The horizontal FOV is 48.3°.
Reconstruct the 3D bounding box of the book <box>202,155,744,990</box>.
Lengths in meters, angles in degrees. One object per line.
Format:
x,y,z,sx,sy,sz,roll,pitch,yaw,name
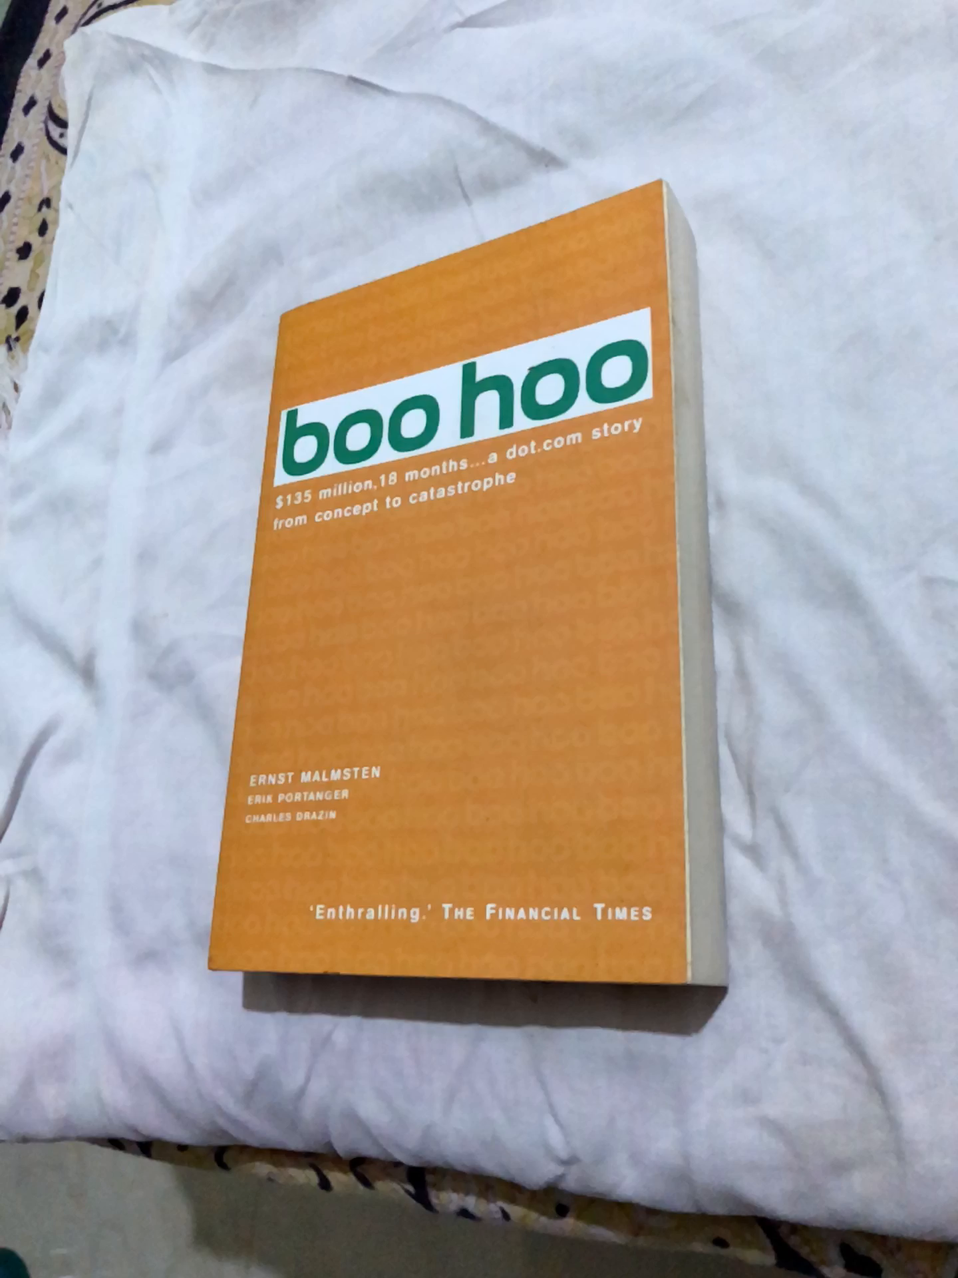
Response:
-0.003,-0.012,0.289,0.130,0.040,0.200,-9,70,31,book
